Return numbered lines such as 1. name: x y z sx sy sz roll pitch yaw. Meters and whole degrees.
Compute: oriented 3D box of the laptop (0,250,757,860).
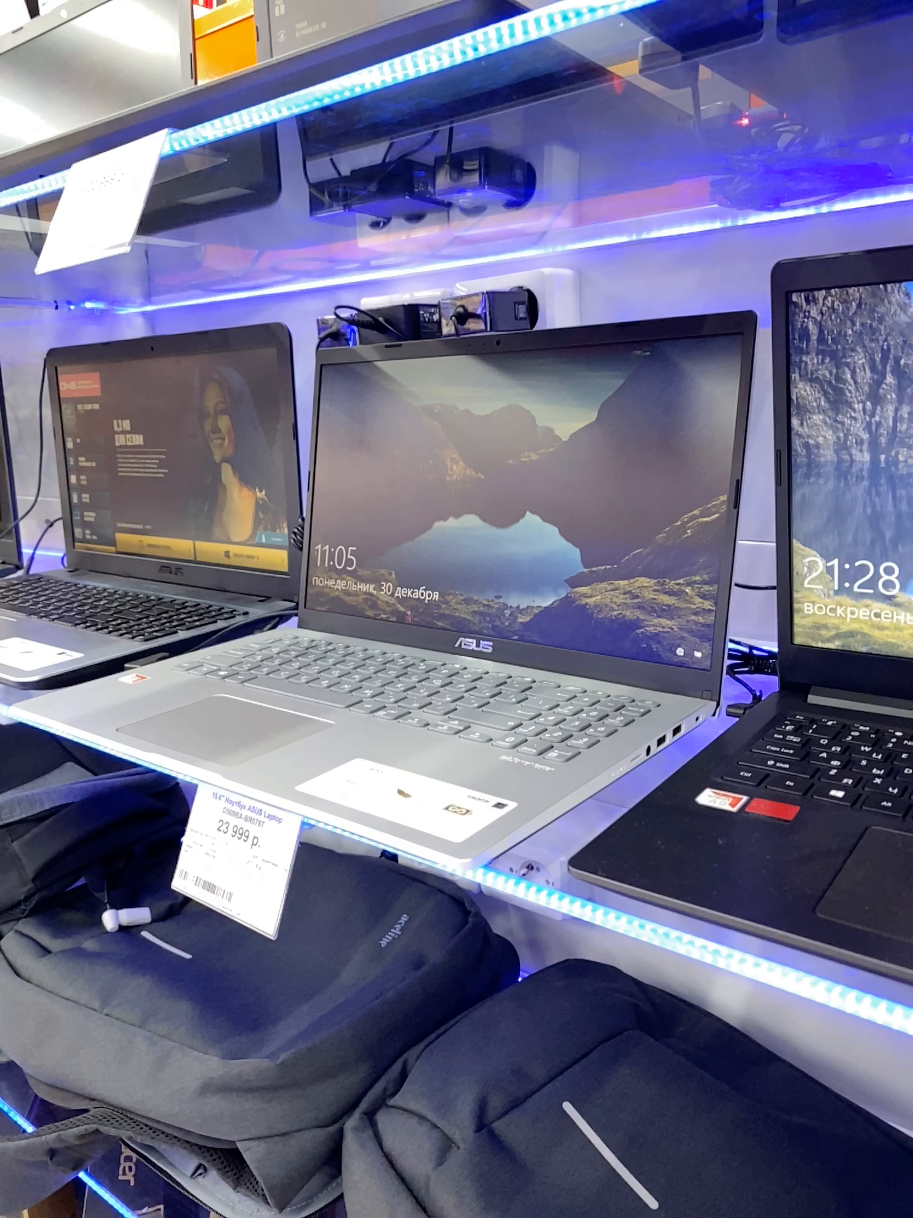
1. laptop: -0.058 -0.054 0.548 0.361 0.217 0.285 7 15 38
